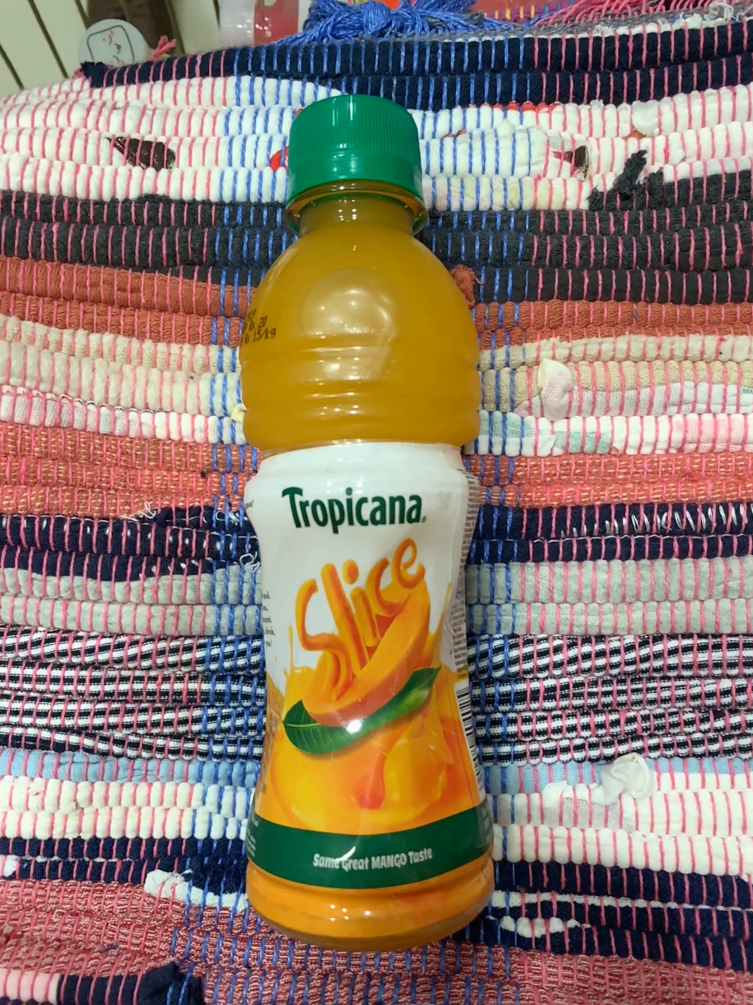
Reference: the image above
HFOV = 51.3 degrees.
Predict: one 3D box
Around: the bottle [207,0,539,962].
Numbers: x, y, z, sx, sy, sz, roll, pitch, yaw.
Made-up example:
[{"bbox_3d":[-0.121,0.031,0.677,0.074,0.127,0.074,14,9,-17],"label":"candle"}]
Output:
[{"bbox_3d":[0.000,-0.009,0.178,0.060,0.050,0.190,0,83,2],"label":"bottle"}]
